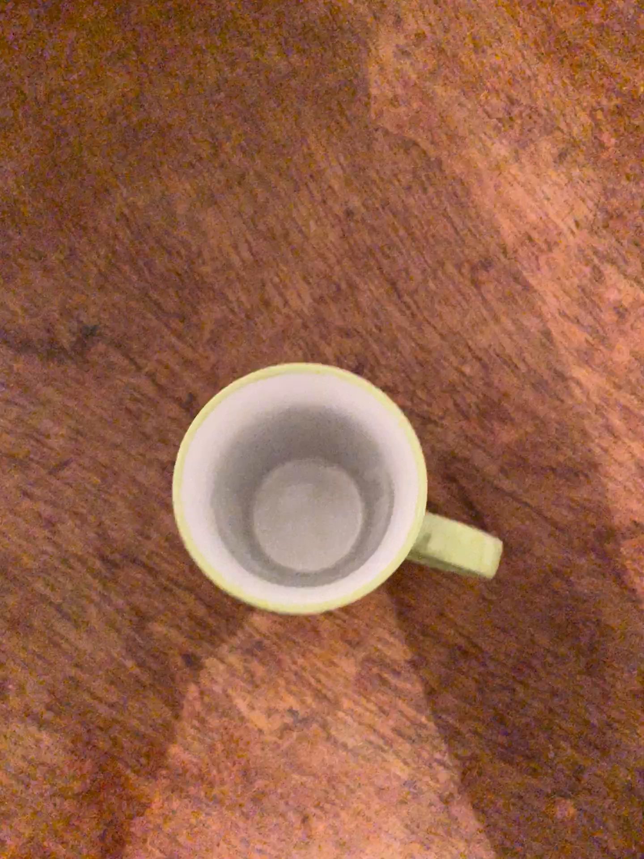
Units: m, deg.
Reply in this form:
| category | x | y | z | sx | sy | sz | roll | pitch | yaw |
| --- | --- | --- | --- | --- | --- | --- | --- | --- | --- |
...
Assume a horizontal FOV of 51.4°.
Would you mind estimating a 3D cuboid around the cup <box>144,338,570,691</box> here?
| category | x | y | z | sx | sy | sz | roll | pitch | yaw |
| --- | --- | --- | --- | --- | --- | --- | --- | --- | --- |
| cup | 0.014 | 0.035 | 0.260 | 0.120 | 0.100 | 0.090 | 11 | 76 | 3 |
